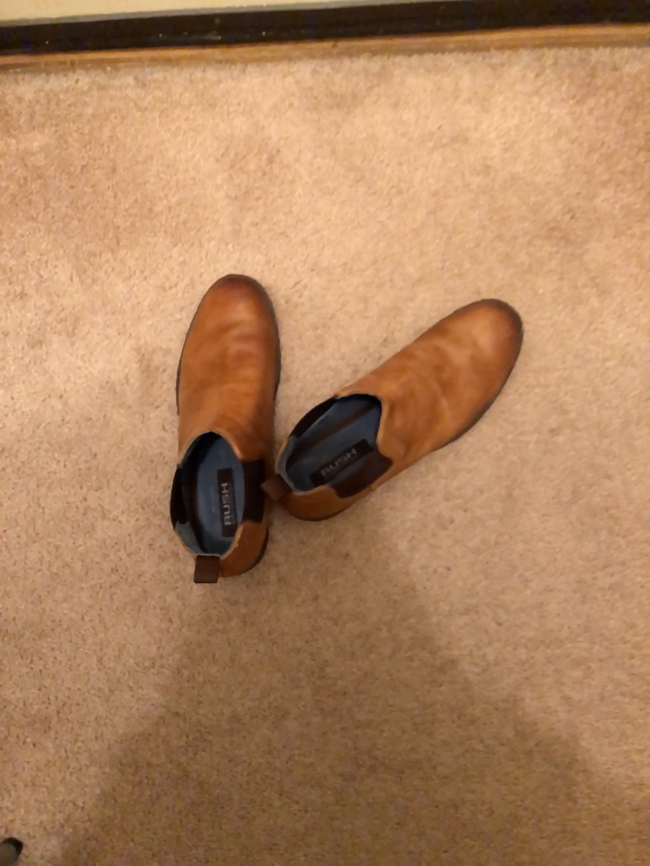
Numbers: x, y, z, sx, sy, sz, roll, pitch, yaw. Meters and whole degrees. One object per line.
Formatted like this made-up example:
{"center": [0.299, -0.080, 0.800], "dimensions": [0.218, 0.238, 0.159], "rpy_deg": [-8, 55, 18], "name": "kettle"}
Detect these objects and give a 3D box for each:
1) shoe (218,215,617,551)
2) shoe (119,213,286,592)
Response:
{"center": [0.077, -0.031, 0.646], "dimensions": [0.312, 0.166, 0.109], "rpy_deg": [-36, 82, -4], "name": "shoe"}
{"center": [-0.101, -0.019, 0.659], "dimensions": [0.109, 0.166, 0.312], "rpy_deg": [1, 81, 1], "name": "shoe"}
